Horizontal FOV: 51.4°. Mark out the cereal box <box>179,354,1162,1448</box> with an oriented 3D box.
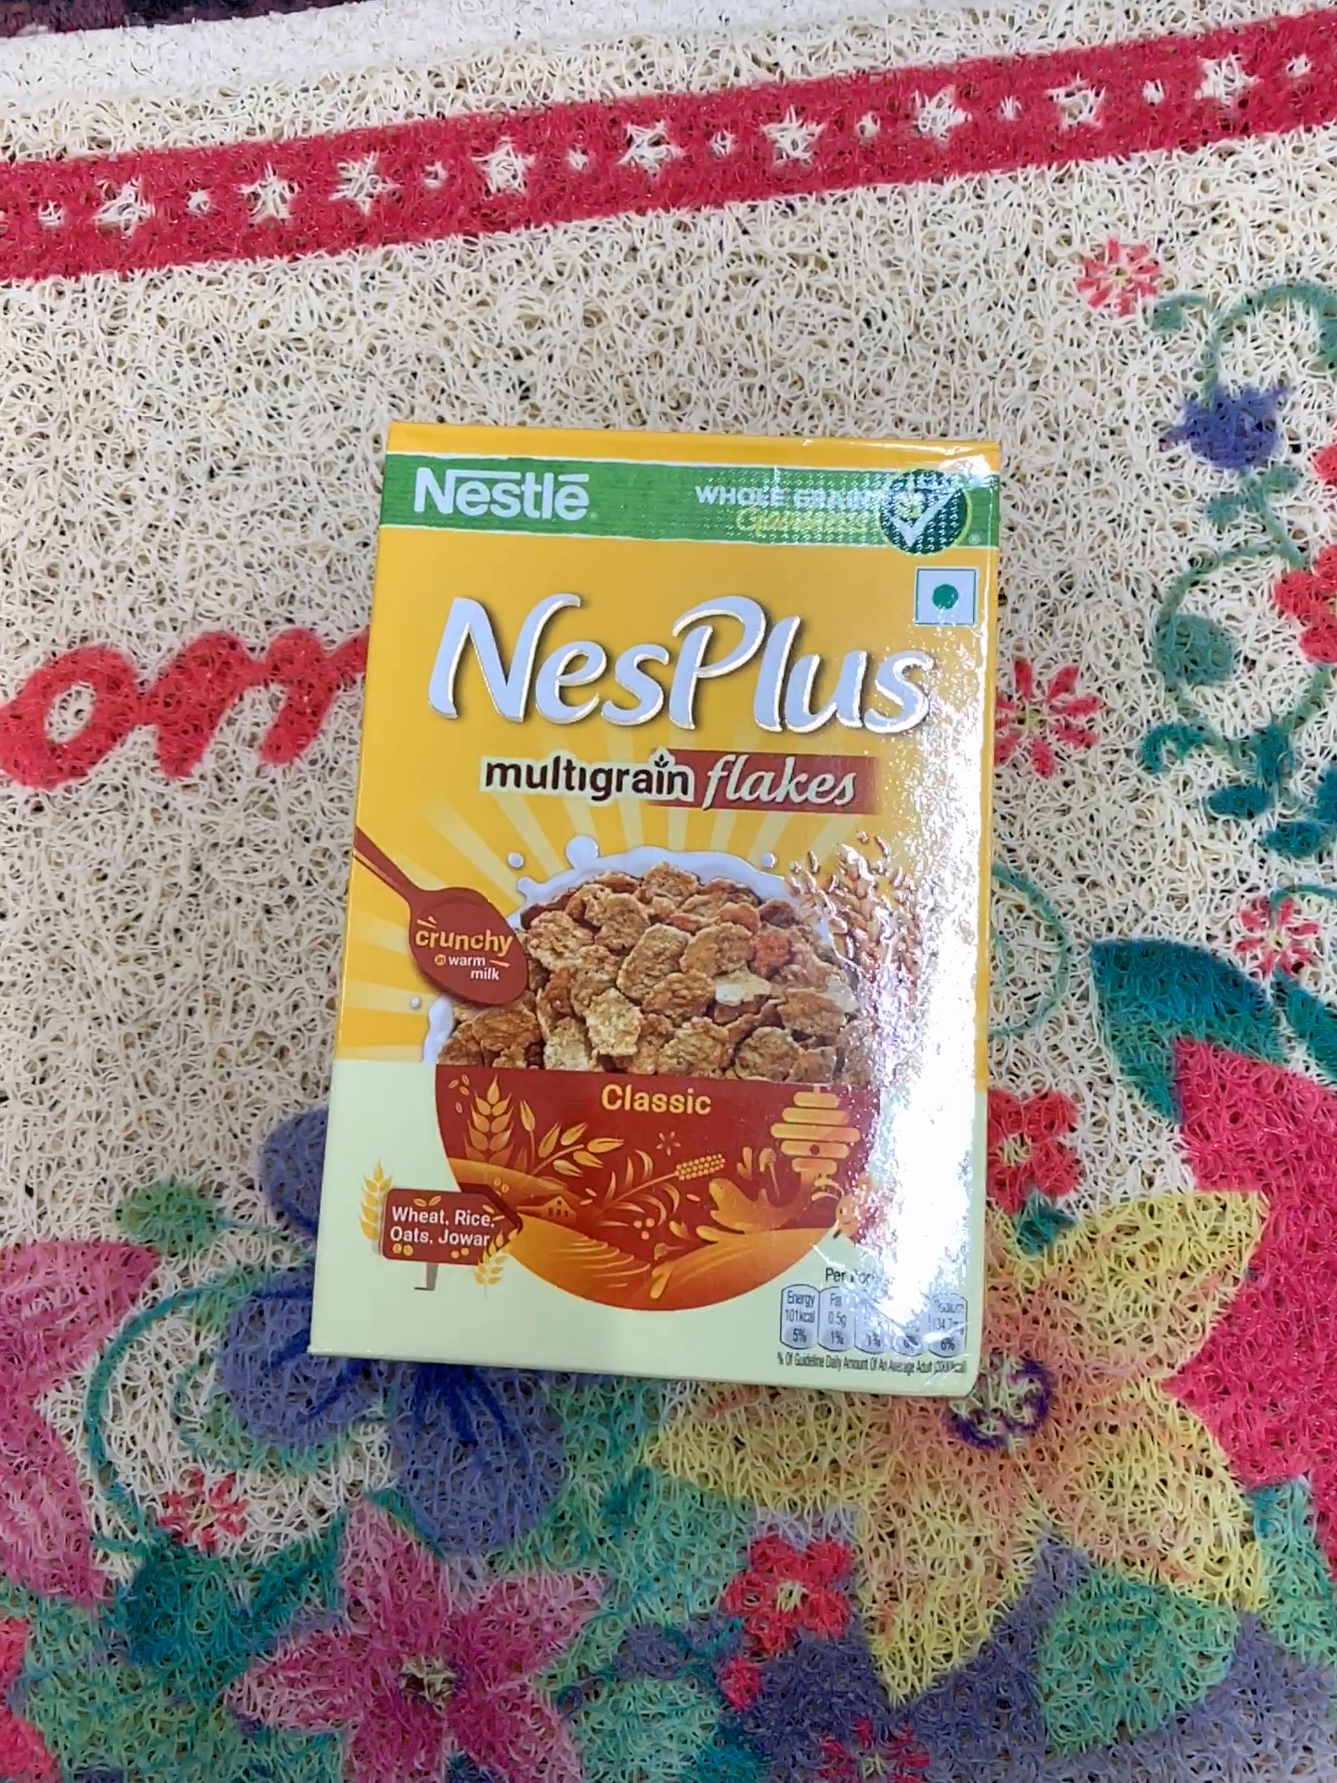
[{"bbox_3d":[0.004,-0.002,0.216,0.130,0.040,0.150,3,81,5],"label":"cereal box"}]
